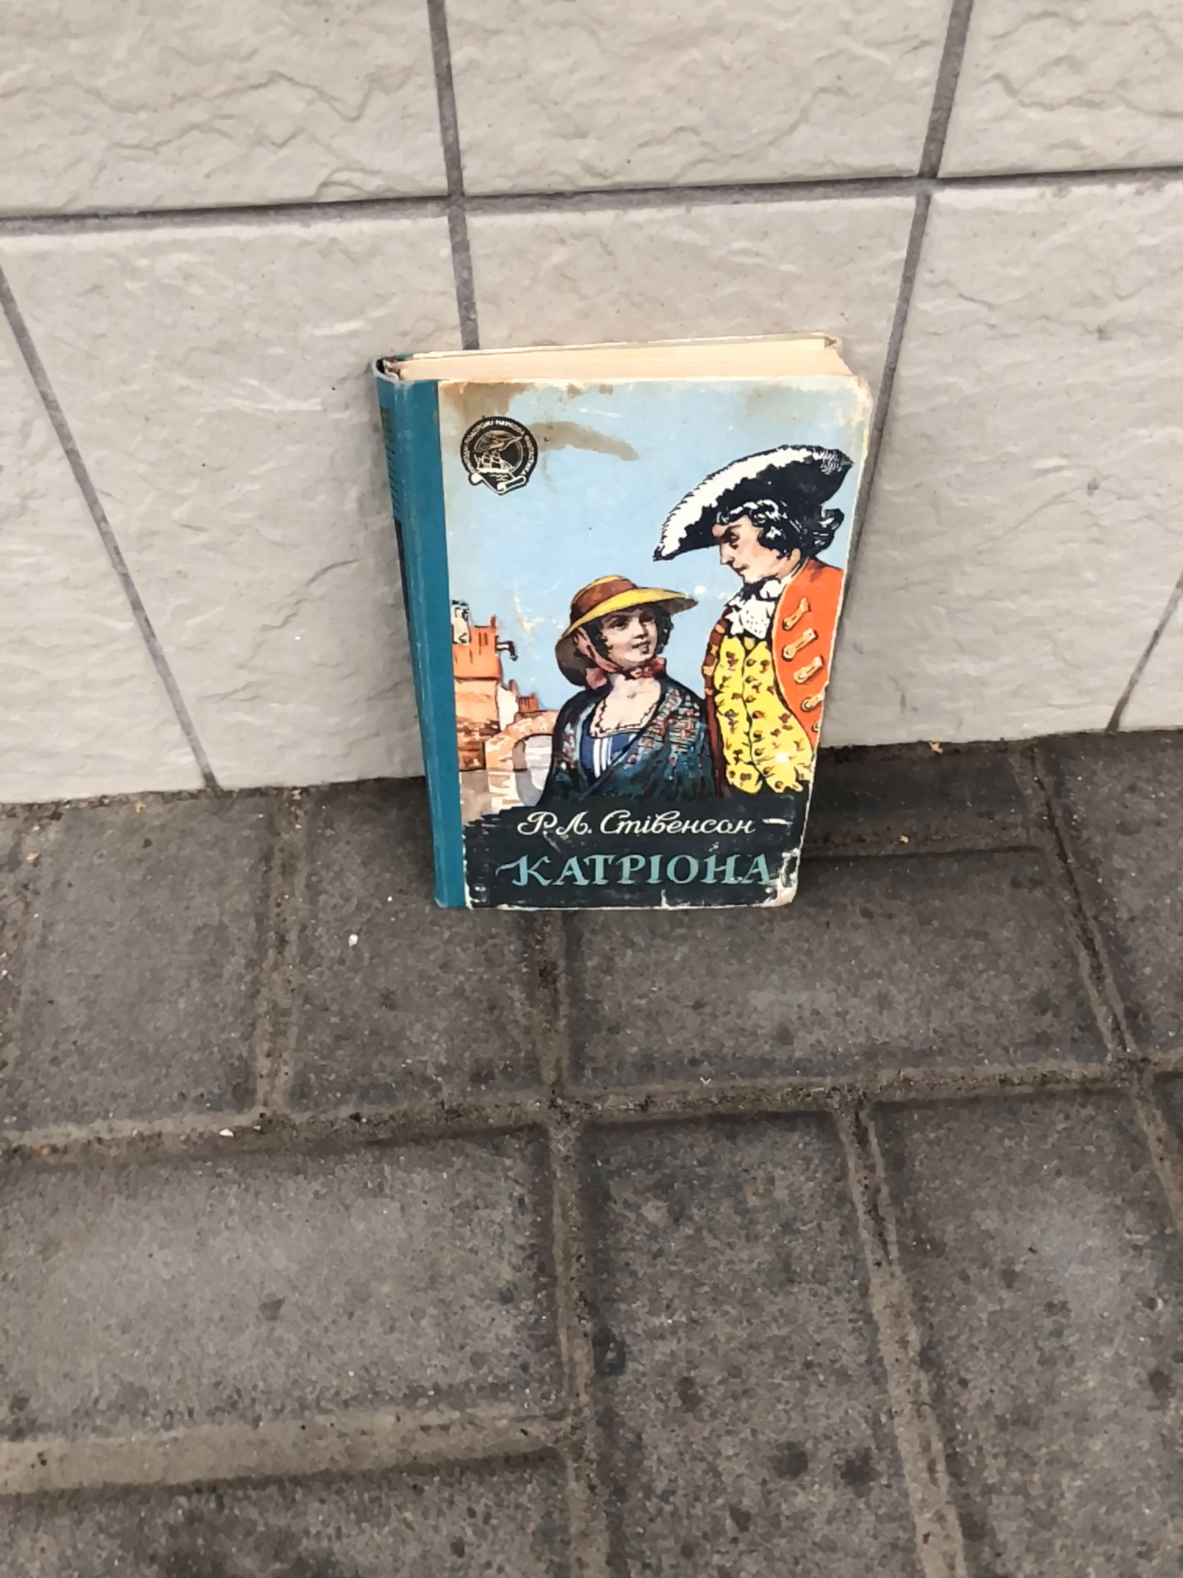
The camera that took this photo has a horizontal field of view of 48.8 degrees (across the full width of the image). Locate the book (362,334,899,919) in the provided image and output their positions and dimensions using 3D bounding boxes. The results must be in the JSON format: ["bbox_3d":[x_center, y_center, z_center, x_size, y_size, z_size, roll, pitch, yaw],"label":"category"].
[{"bbox_3d":[0.011,-0.039,0.398,0.134,0.189,0.030,-1,40,0],"label":"book"}]
